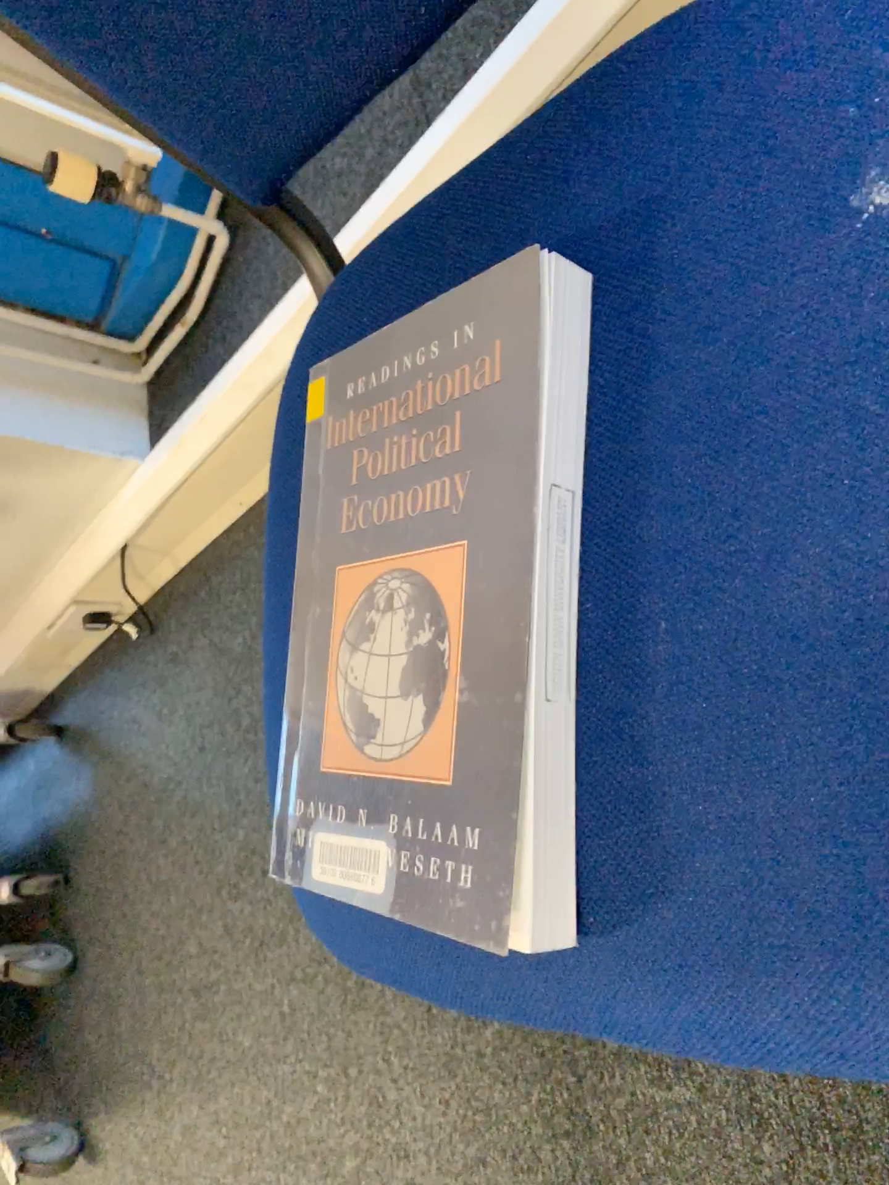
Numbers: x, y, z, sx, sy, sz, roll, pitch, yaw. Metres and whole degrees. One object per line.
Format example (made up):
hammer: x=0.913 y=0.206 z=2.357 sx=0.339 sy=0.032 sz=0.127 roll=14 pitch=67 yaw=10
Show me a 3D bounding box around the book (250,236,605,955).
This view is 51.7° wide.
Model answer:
book: x=-0.012 y=0.003 z=0.342 sx=0.151 sy=0.030 sz=0.220 roll=-9 pitch=74 yaw=49
